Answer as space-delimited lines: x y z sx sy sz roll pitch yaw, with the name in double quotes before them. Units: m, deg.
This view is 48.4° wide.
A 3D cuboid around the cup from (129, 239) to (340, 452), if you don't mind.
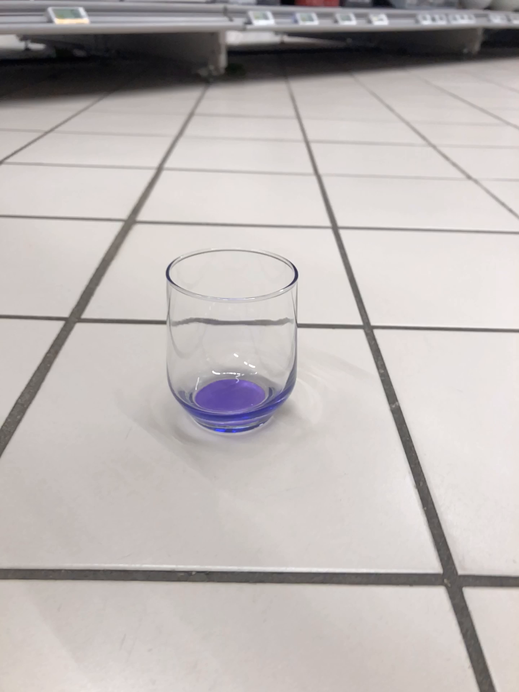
"cup" -0.011 -0.005 0.284 0.070 0.063 0.070 1 30 -1
